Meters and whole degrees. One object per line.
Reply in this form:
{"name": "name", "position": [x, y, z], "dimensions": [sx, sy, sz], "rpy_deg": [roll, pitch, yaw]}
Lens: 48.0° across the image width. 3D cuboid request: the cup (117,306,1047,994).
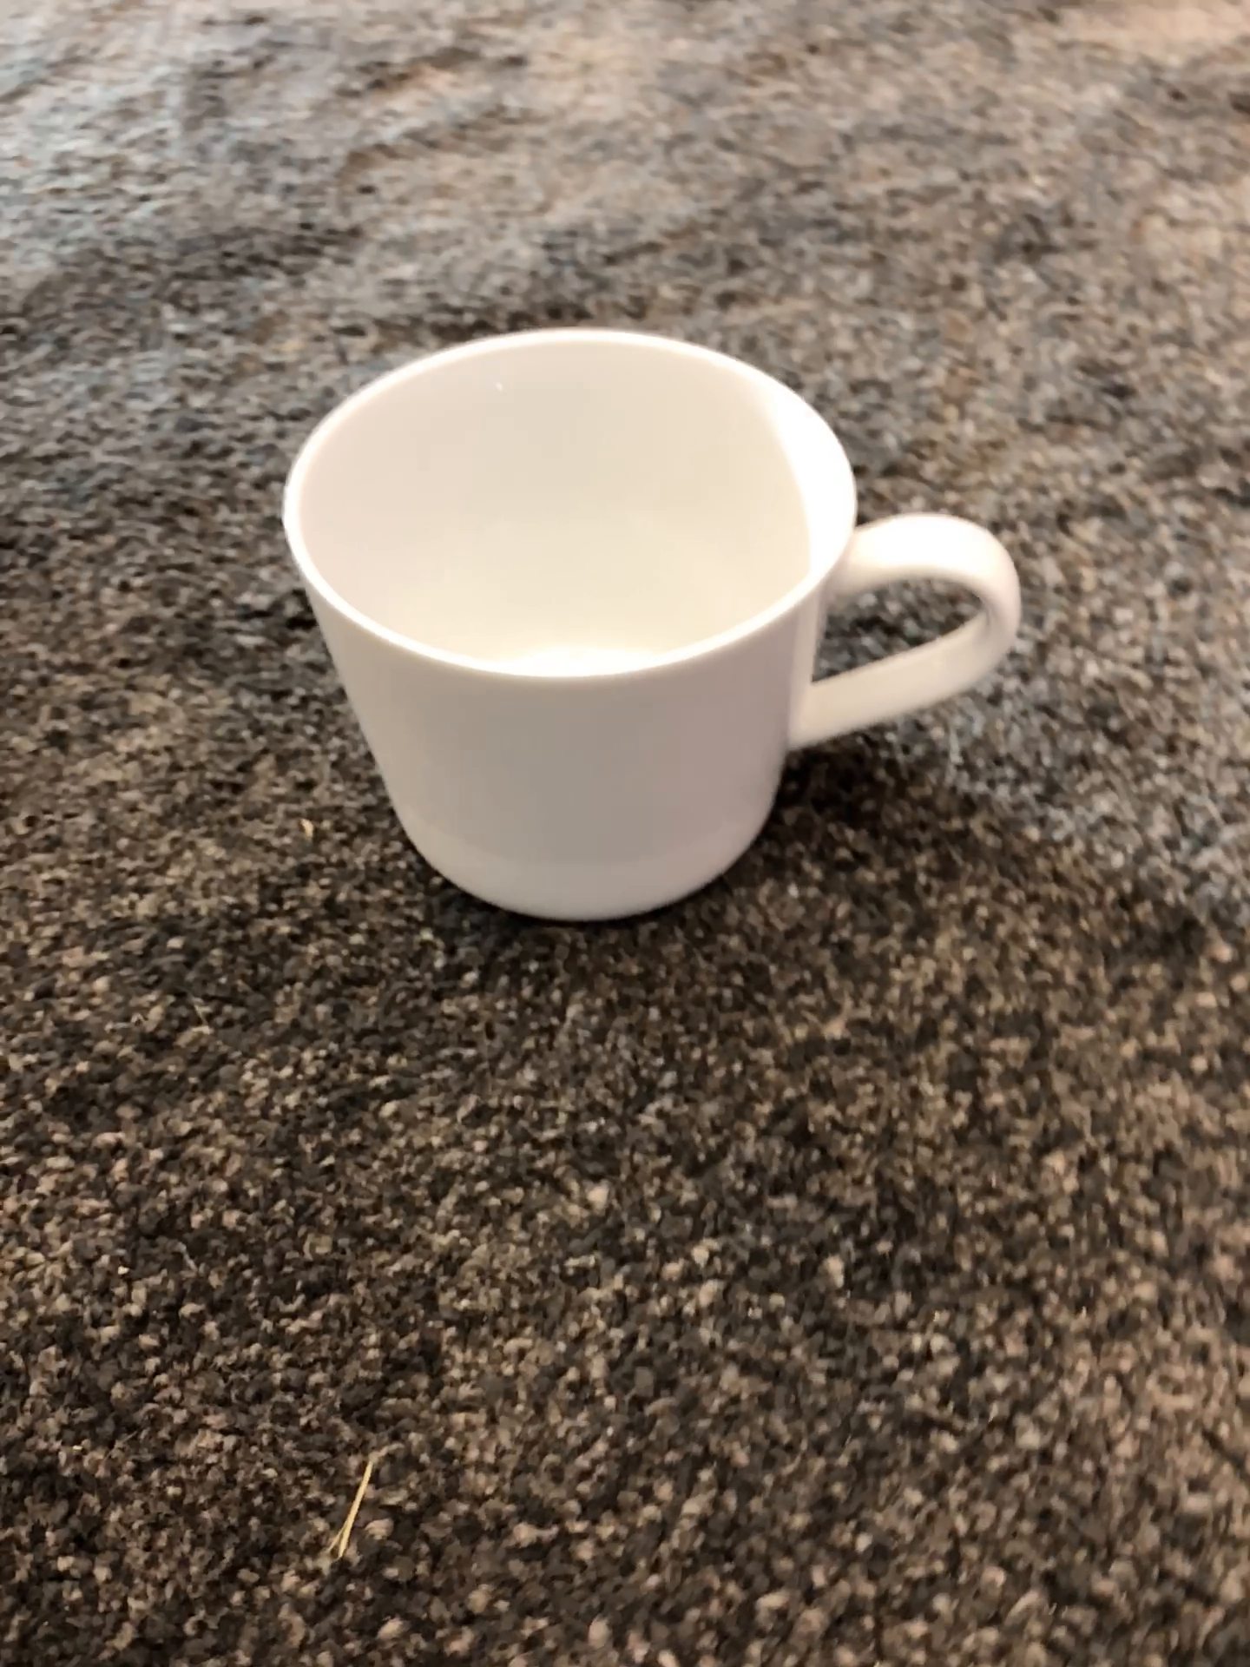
{"name": "cup", "position": [-0.002, -0.038, 0.272], "dimensions": [0.140, 0.080, 0.100], "rpy_deg": [3, 49, 6]}
